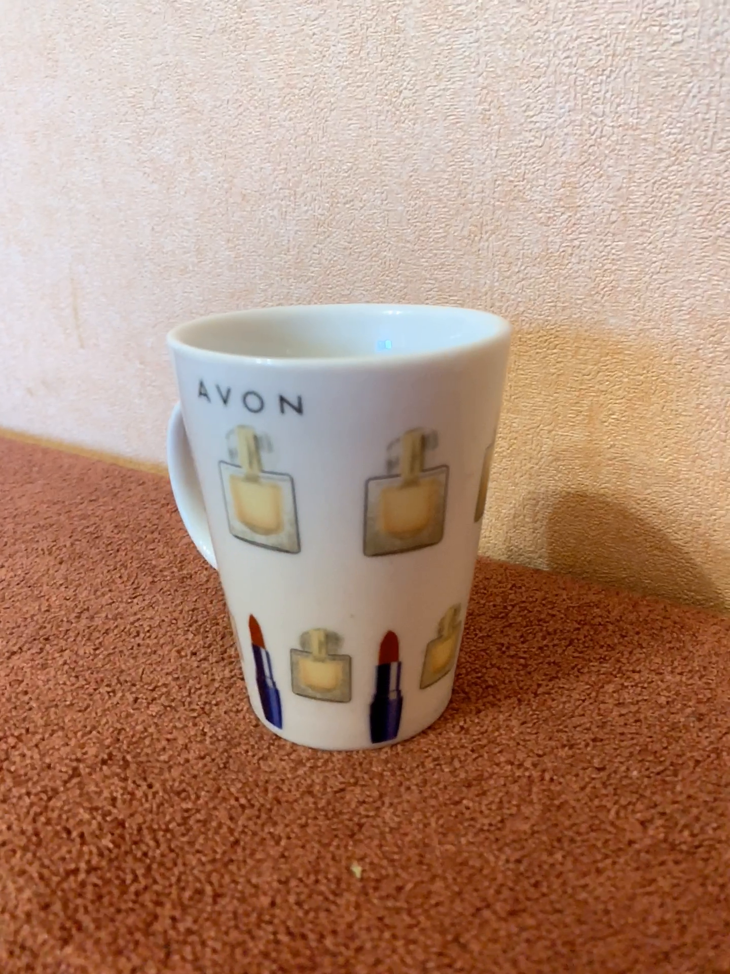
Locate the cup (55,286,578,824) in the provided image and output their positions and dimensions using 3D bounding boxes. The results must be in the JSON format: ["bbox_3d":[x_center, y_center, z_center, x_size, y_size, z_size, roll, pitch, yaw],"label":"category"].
[{"bbox_3d":[-0.012,0.004,0.196,0.103,0.093,0.071,16,29,37],"label":"cup"}]
